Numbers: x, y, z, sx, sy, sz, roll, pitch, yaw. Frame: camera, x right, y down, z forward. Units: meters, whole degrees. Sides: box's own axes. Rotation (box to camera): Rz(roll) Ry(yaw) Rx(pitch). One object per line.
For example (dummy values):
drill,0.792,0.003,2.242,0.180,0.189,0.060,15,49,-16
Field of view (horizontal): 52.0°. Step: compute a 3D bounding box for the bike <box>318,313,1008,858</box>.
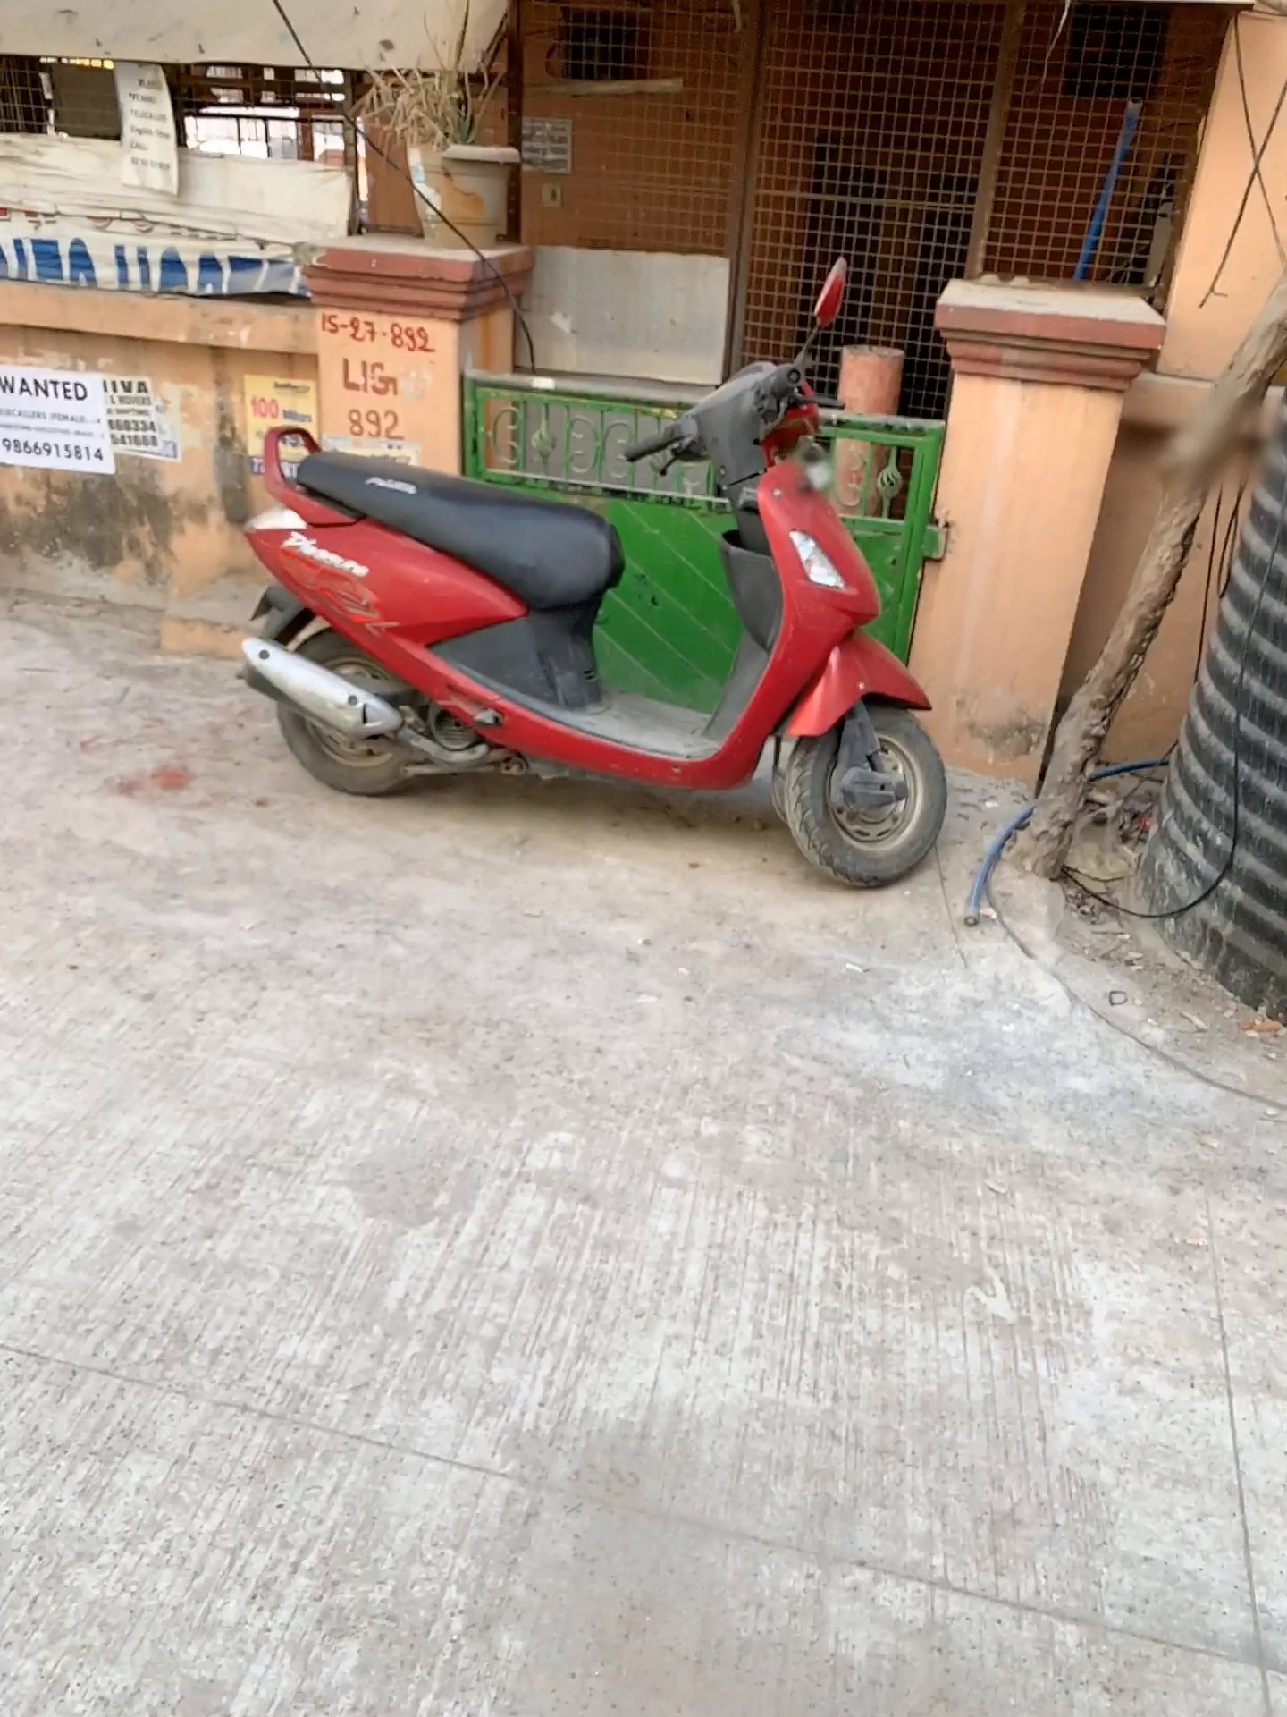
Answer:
bike,0.050,-0.619,2.901,1.271,0.916,0.621,6,28,4
